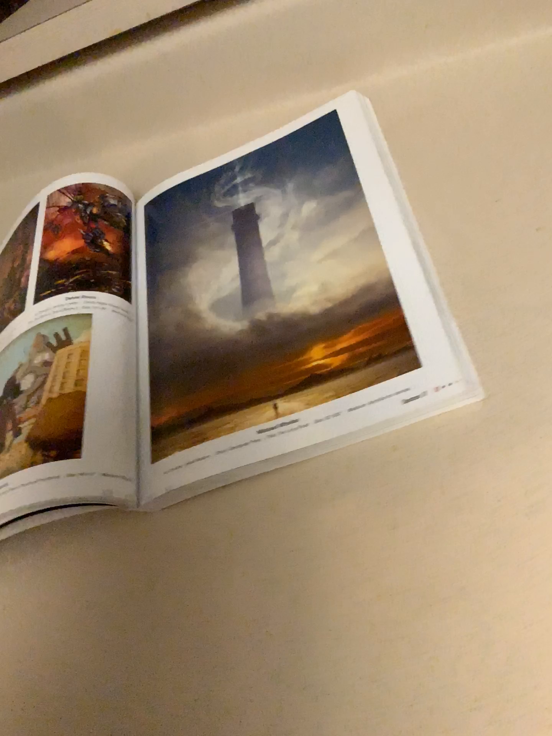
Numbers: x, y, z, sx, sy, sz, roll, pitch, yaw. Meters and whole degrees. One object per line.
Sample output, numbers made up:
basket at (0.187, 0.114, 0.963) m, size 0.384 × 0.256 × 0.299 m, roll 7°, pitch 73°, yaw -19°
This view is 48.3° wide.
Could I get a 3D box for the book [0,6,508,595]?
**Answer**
book at (-0.108, -0.051, 0.469) m, size 0.450 × 0.070 × 0.320 m, roll -21°, pitch 53°, yaw 17°
